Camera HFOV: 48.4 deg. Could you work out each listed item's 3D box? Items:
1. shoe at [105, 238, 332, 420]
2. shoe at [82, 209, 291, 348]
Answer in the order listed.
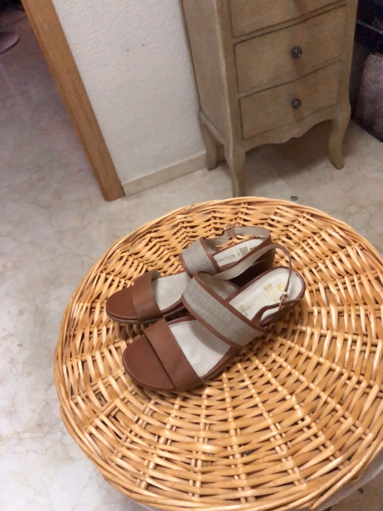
[{"bbox_3d":[0.039,0.092,0.556,0.270,0.090,0.090,-26,48,-10],"label":"shoe"},{"bbox_3d":[-0.011,0.027,0.597,0.270,0.070,0.100,-18,33,-3],"label":"shoe"}]
